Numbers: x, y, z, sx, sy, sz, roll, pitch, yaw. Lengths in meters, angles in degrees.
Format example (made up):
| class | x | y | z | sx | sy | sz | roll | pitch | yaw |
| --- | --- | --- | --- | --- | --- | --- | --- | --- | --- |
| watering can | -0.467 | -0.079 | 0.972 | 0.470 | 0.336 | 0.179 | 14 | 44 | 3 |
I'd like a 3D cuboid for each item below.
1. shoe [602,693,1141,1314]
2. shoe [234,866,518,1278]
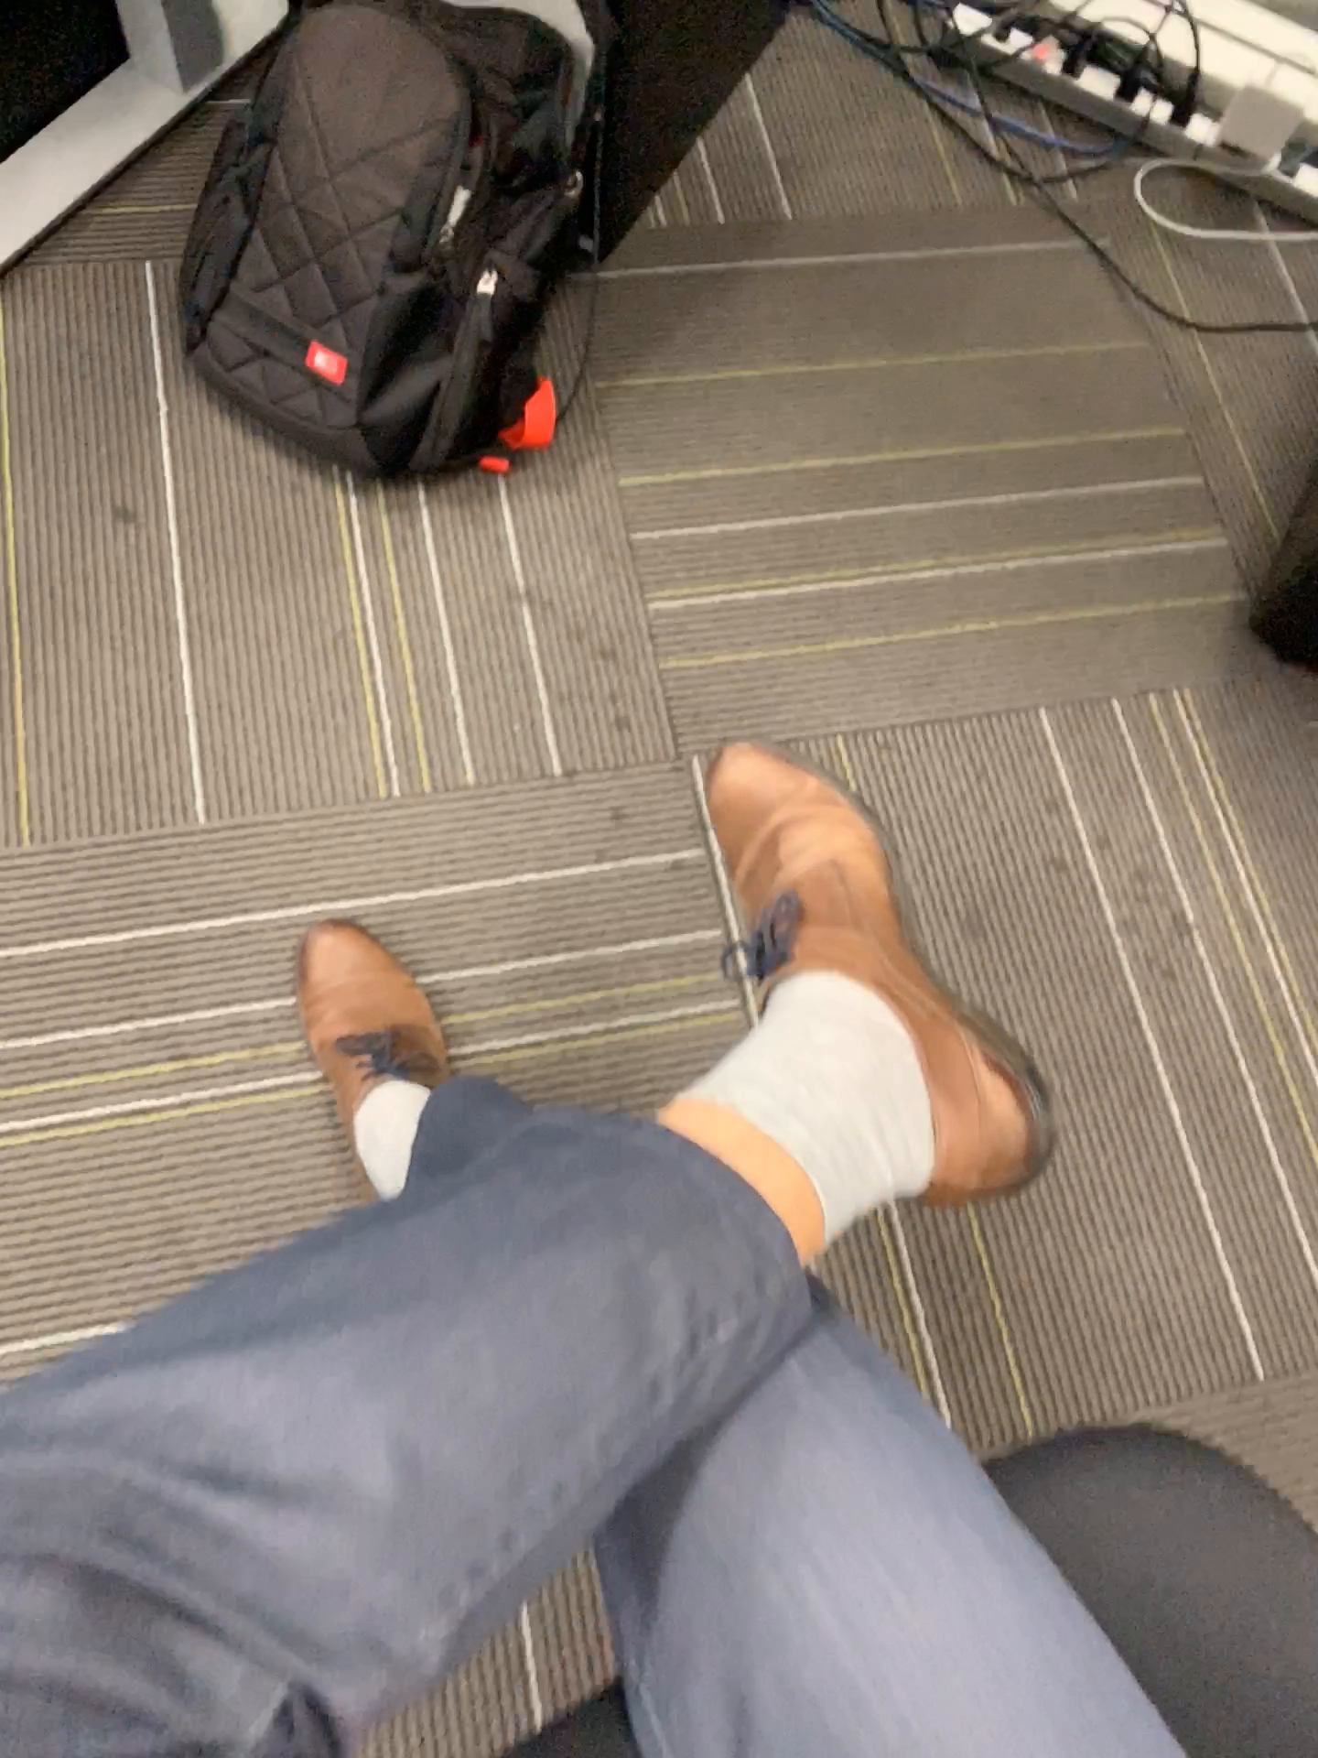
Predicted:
| class | x | y | z | sx | sy | sz | roll | pitch | yaw |
| --- | --- | --- | --- | --- | --- | --- | --- | --- | --- |
| shoe | 0.098 | 0.055 | 0.700 | 0.082 | 0.114 | 0.294 | -12 | 61 | -43 |
| shoe | -0.212 | 0.141 | 1.014 | 0.112 | 0.068 | 0.276 | -22 | 73 | -14 |
